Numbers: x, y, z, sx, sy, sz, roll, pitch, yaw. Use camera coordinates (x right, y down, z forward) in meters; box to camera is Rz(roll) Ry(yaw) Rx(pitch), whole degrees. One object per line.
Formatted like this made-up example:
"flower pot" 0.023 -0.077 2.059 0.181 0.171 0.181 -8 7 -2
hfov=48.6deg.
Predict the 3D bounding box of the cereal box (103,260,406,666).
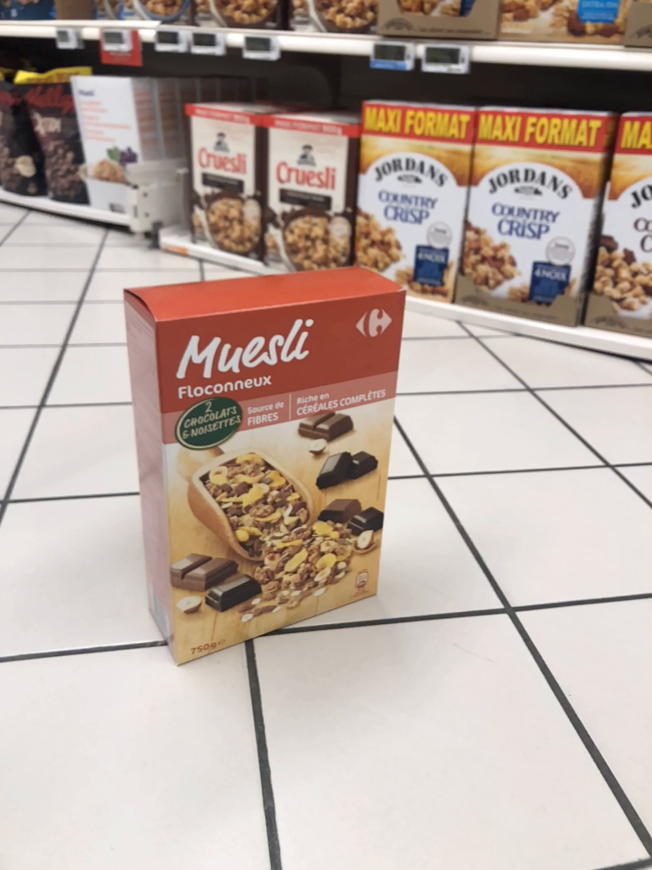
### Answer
"cereal box" -0.047 0.015 0.492 0.171 0.239 0.070 -12 30 -29
